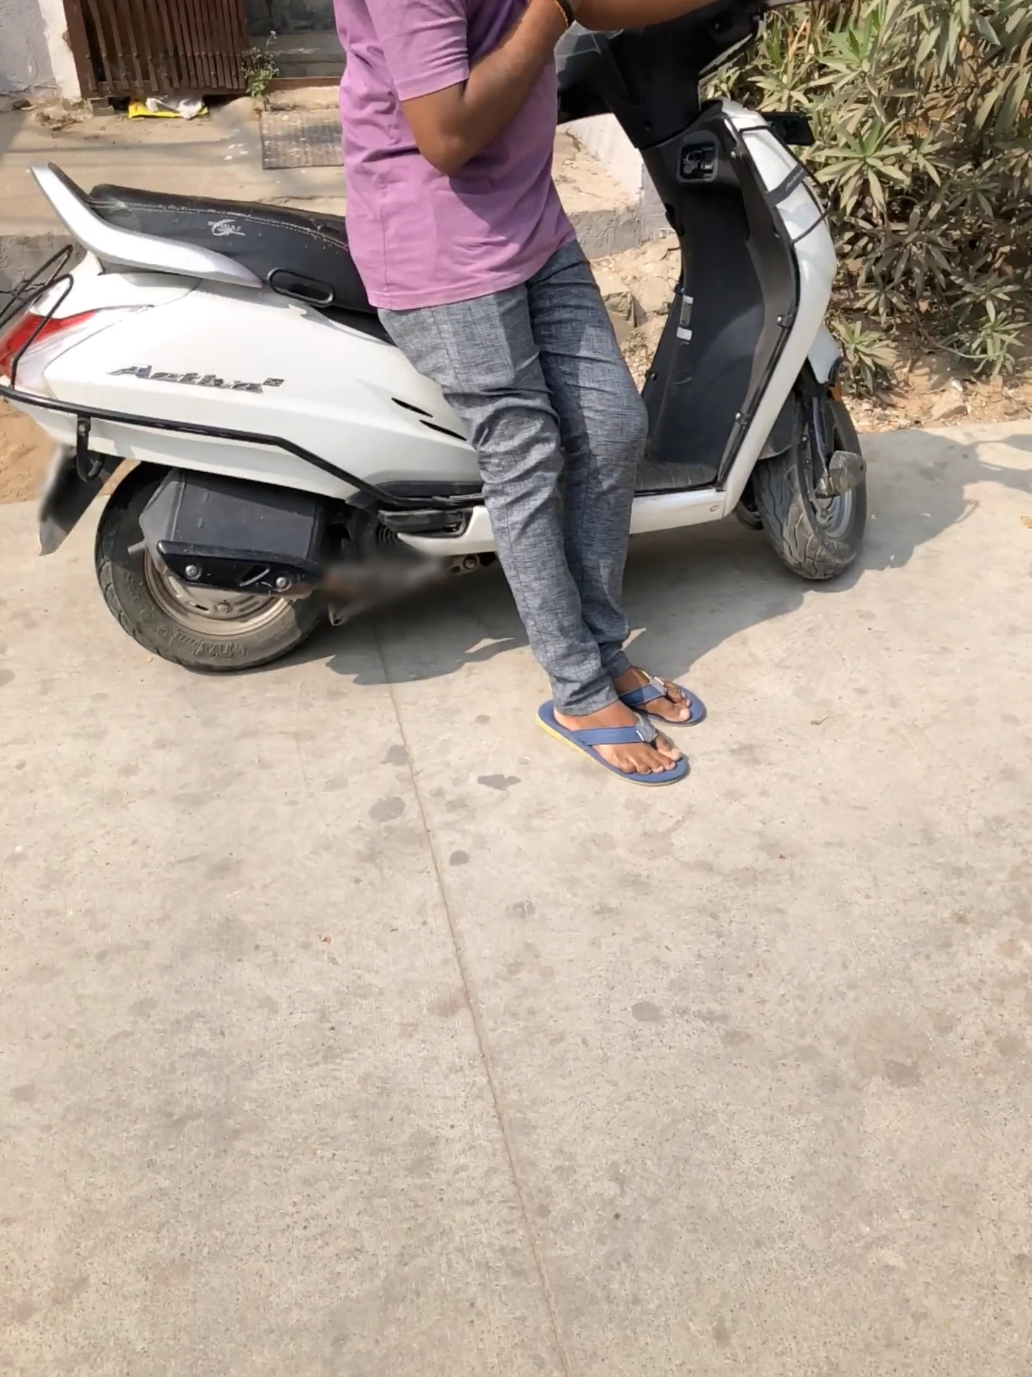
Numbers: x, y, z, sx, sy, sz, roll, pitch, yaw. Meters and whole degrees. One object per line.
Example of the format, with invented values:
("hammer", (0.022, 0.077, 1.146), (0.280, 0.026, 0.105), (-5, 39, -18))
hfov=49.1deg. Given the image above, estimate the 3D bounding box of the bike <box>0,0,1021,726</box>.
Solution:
("bike", (-0.030, -0.707, 2.050), (1.524, 1.007, 0.650), (-15, 42, -18))
